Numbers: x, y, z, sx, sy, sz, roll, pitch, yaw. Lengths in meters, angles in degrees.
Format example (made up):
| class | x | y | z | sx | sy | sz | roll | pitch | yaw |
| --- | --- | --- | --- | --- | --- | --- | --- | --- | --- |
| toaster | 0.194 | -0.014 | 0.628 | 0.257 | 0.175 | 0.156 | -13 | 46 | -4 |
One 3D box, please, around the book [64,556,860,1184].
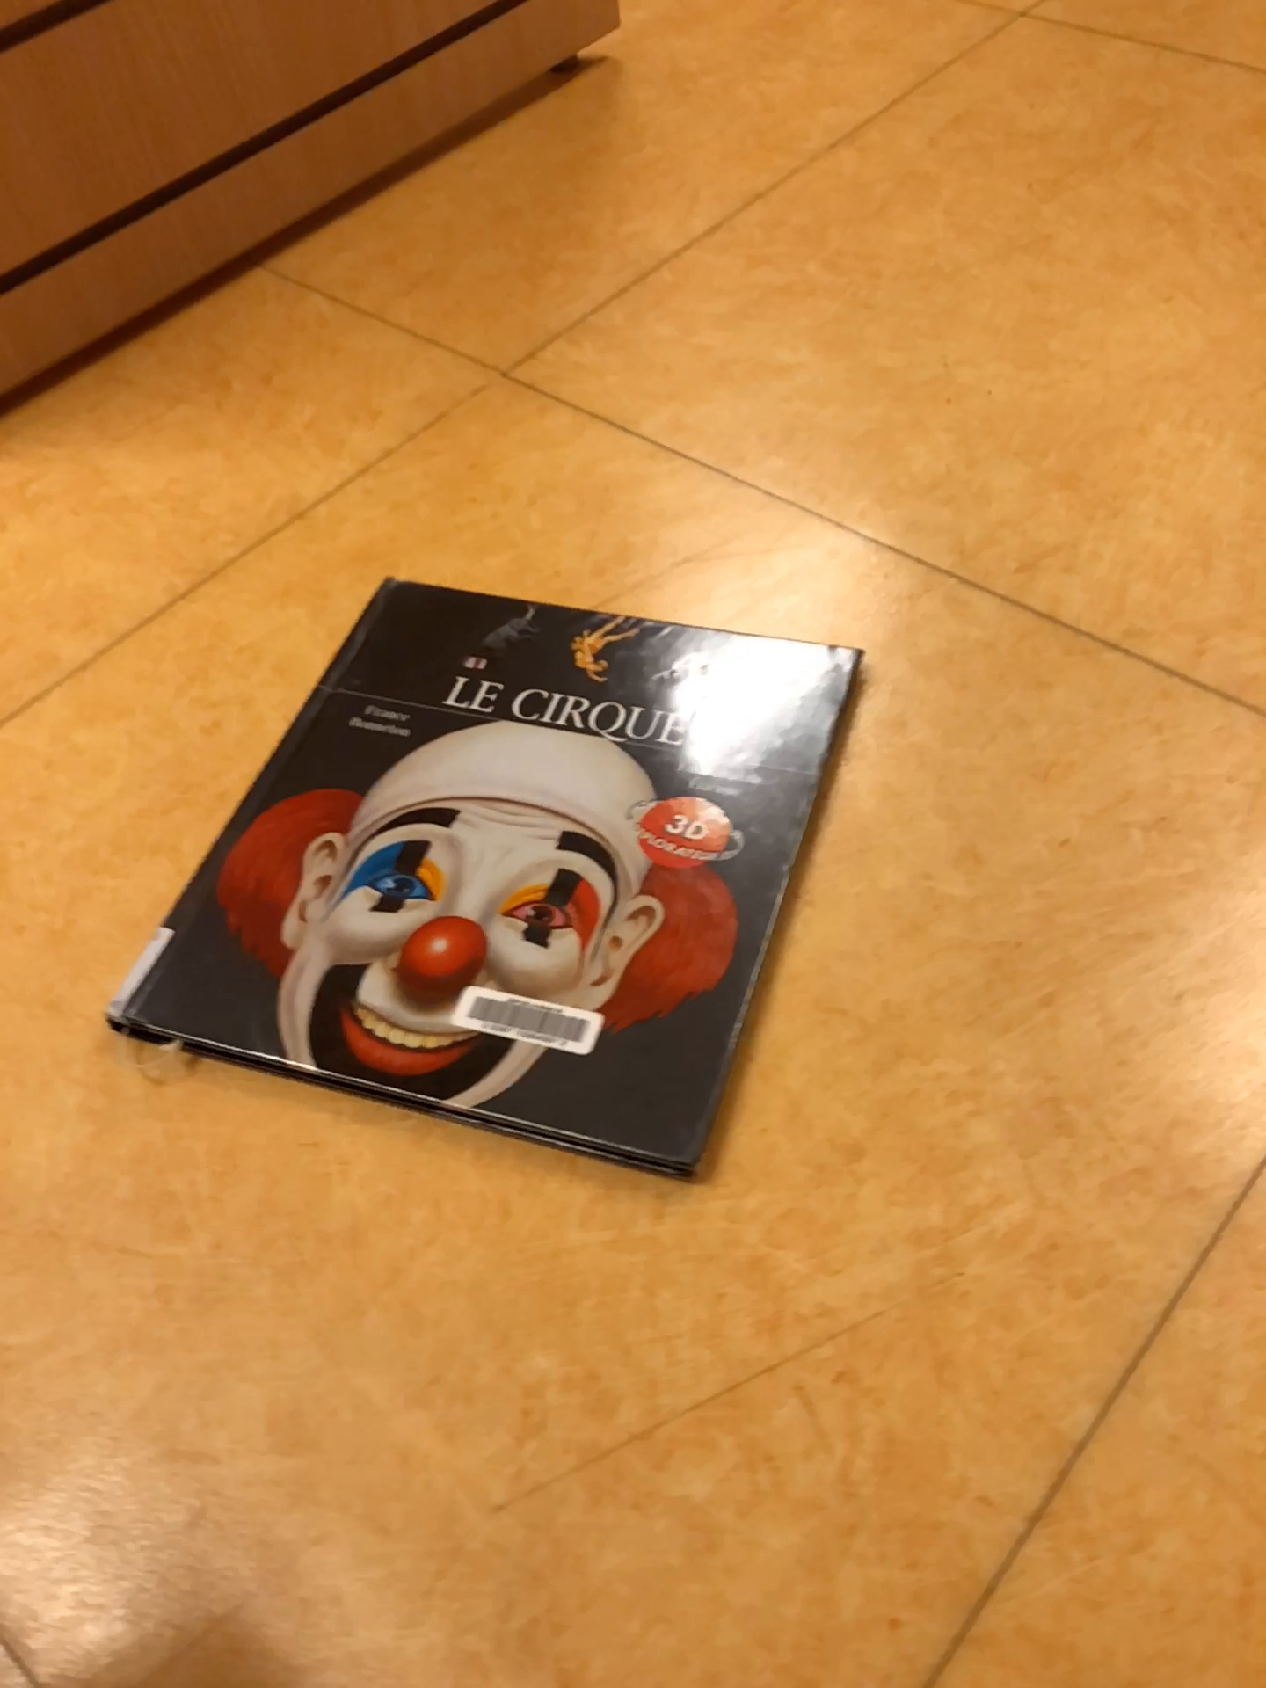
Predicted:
| class | x | y | z | sx | sy | sz | roll | pitch | yaw |
| --- | --- | --- | --- | --- | --- | --- | --- | --- | --- |
| book | -0.050 | -0.011 | 0.505 | 0.214 | 0.012 | 0.234 | 11 | 53 | 16 |
